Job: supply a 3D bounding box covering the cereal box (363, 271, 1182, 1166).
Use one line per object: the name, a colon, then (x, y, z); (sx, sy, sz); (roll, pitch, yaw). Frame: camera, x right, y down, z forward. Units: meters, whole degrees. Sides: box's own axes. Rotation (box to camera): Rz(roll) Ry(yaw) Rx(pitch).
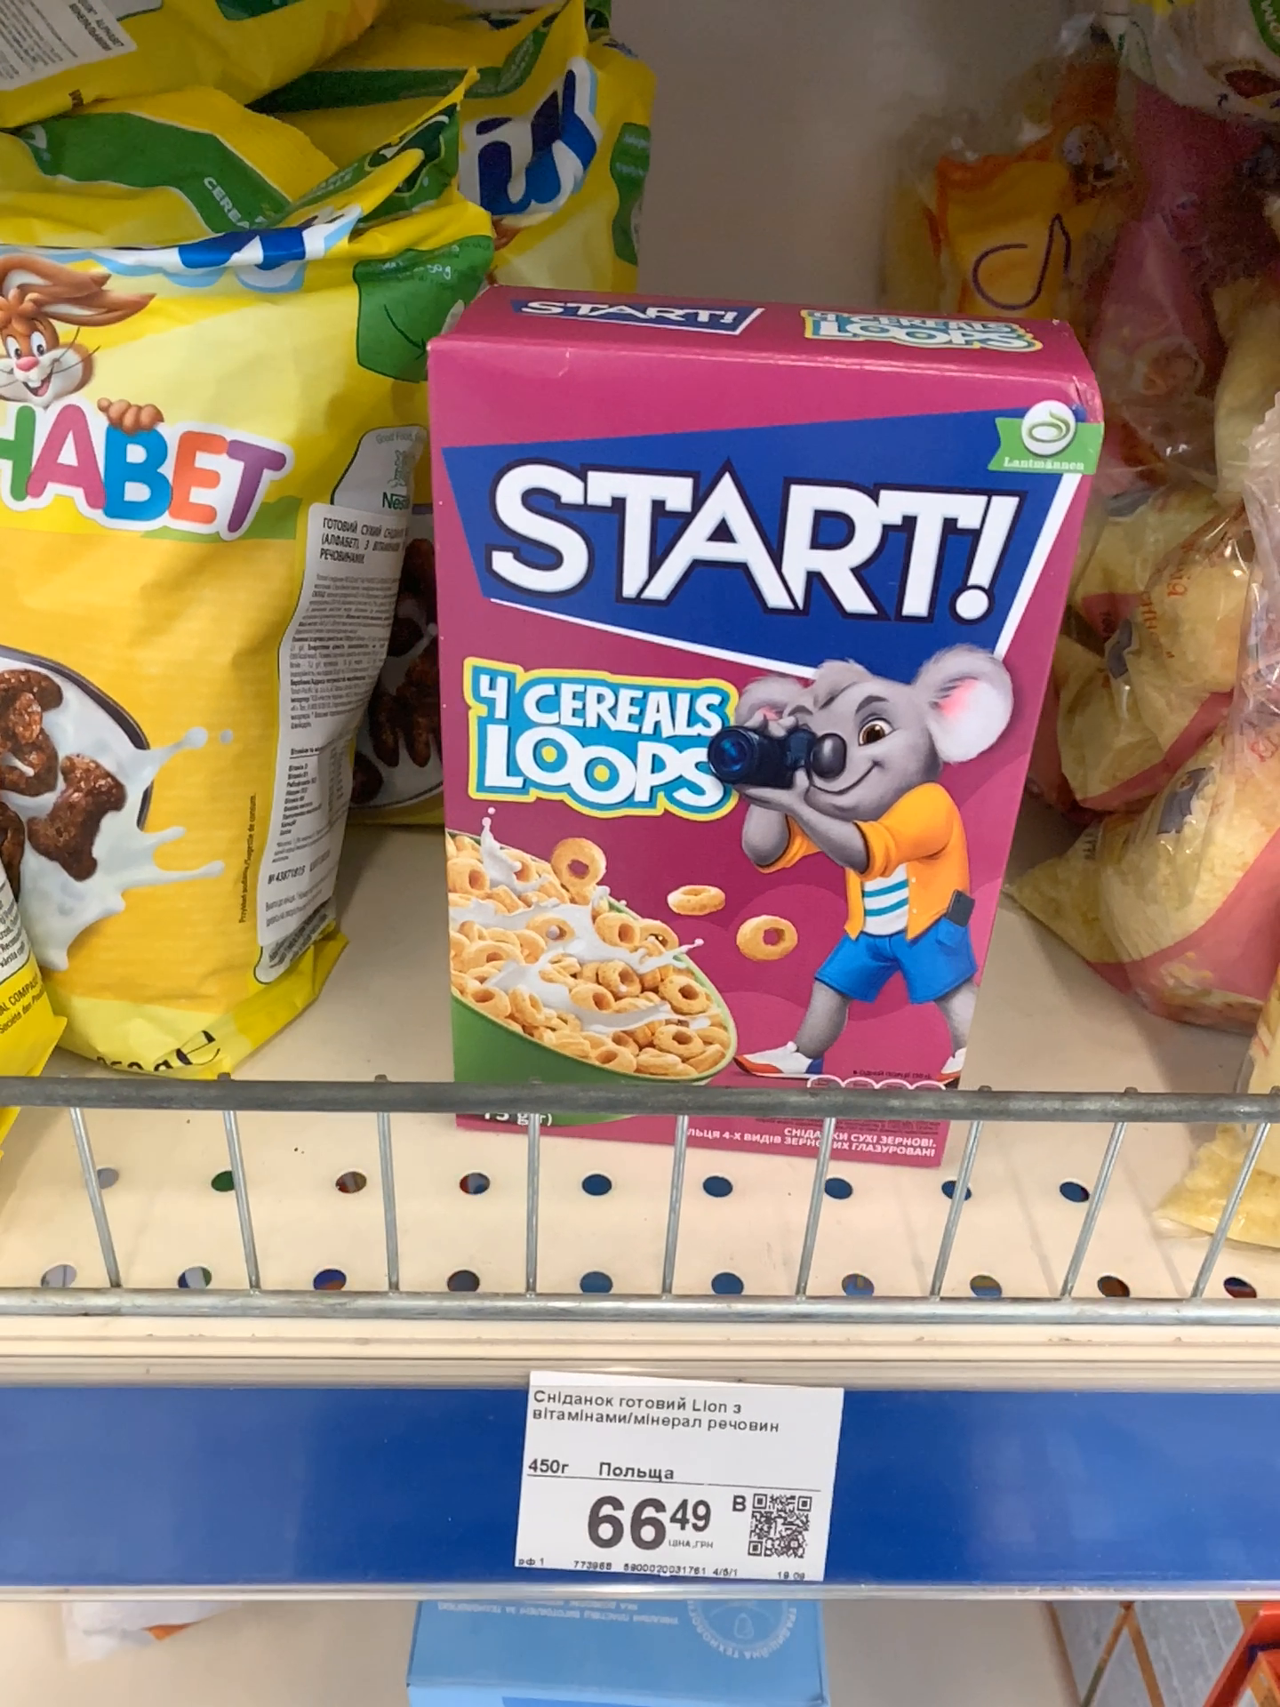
cereal box: (0.017, -0.020, 0.258); (0.120, 0.159, 0.050); (4, 32, 2)
